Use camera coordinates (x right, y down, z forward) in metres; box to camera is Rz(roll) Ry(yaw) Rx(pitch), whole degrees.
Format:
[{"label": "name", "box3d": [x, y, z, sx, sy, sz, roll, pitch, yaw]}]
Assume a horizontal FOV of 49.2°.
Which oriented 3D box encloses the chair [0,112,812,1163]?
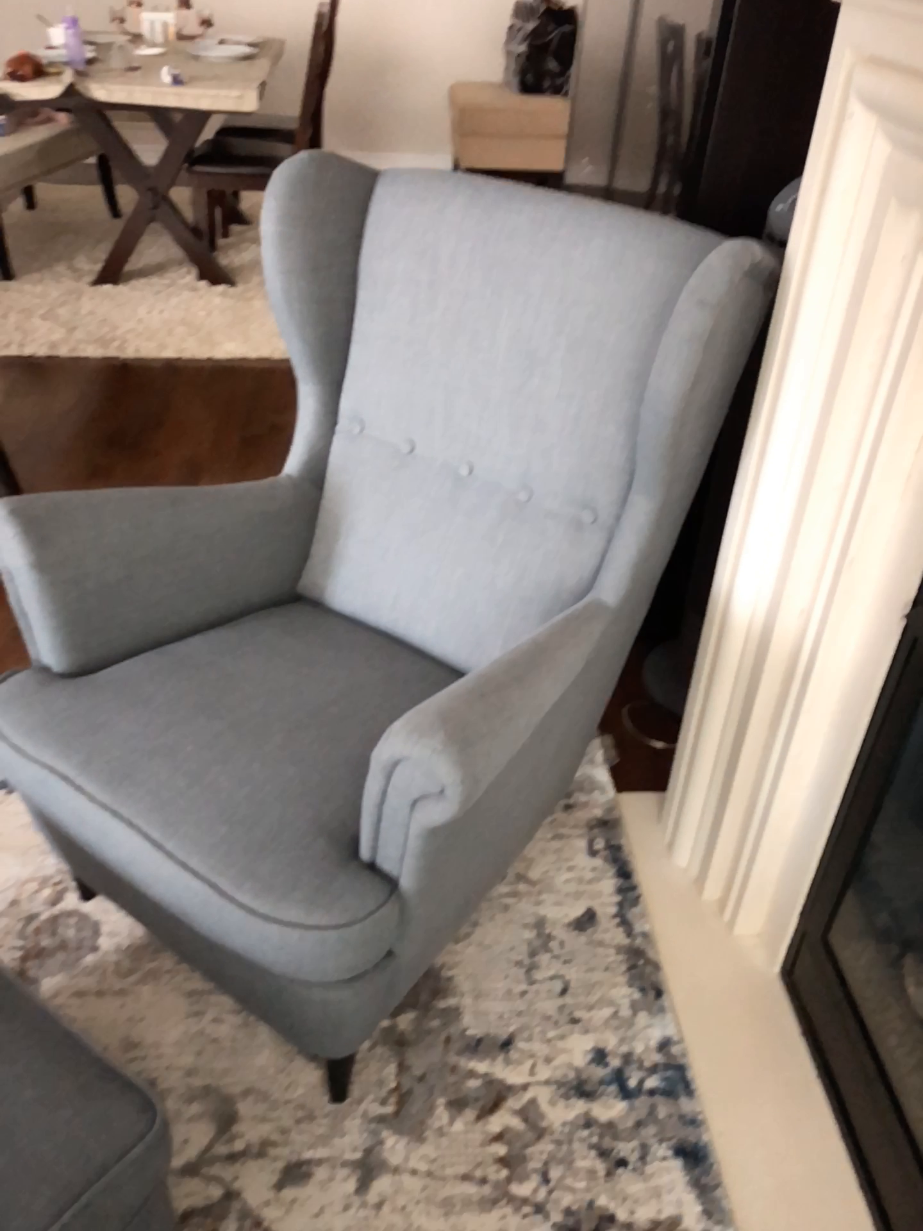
[{"label": "chair", "box3d": [-0.158, -0.074, 1.410, 0.801, 0.966, 0.853, 24, 40, 27]}]
